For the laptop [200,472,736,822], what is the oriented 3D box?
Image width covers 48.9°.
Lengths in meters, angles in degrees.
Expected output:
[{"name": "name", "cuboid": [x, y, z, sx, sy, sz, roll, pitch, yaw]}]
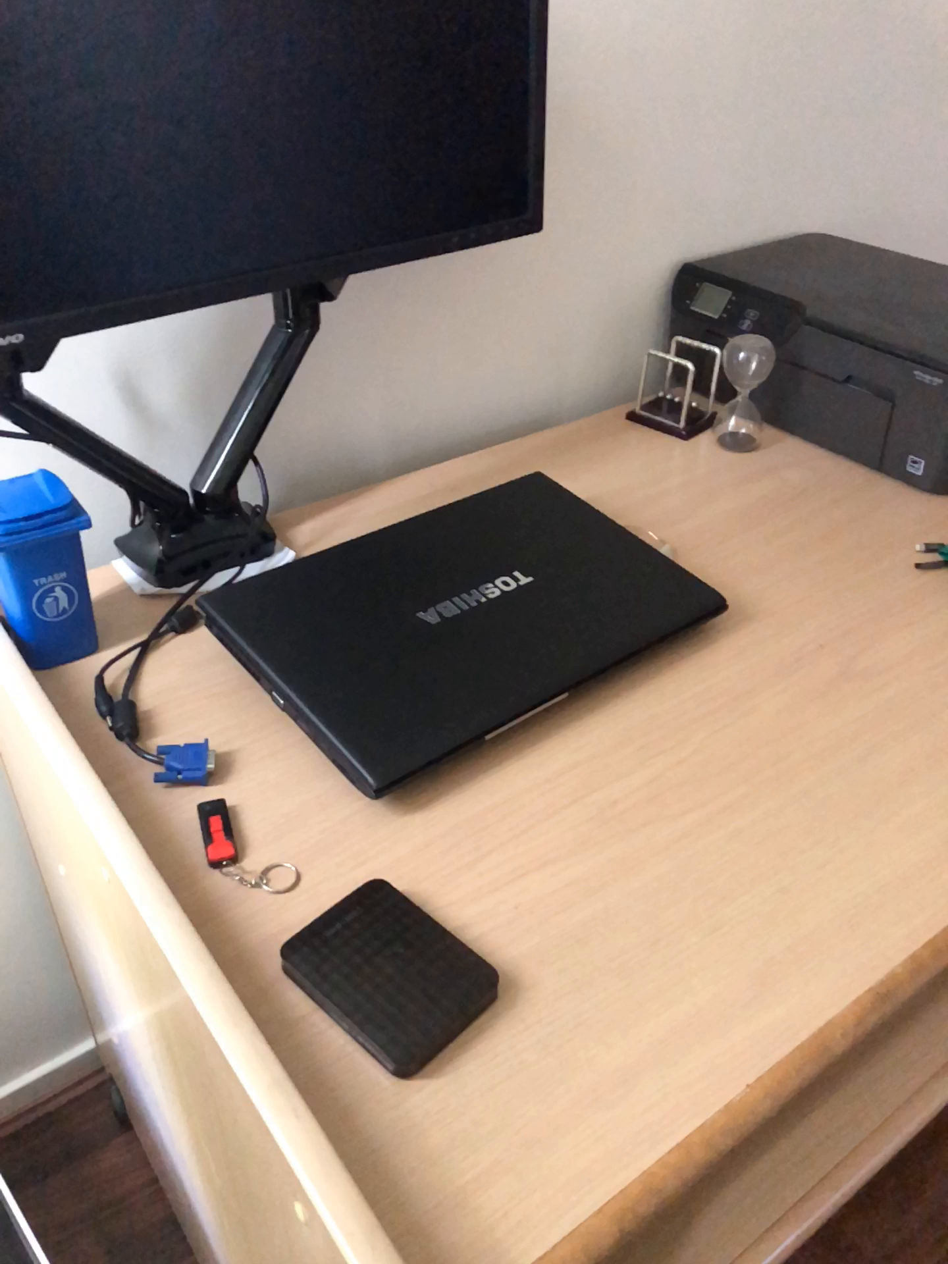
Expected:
[{"name": "laptop", "cuboid": [0.003, -0.015, 0.893, 0.380, 0.029, 0.257, -25, 49, -33]}]
